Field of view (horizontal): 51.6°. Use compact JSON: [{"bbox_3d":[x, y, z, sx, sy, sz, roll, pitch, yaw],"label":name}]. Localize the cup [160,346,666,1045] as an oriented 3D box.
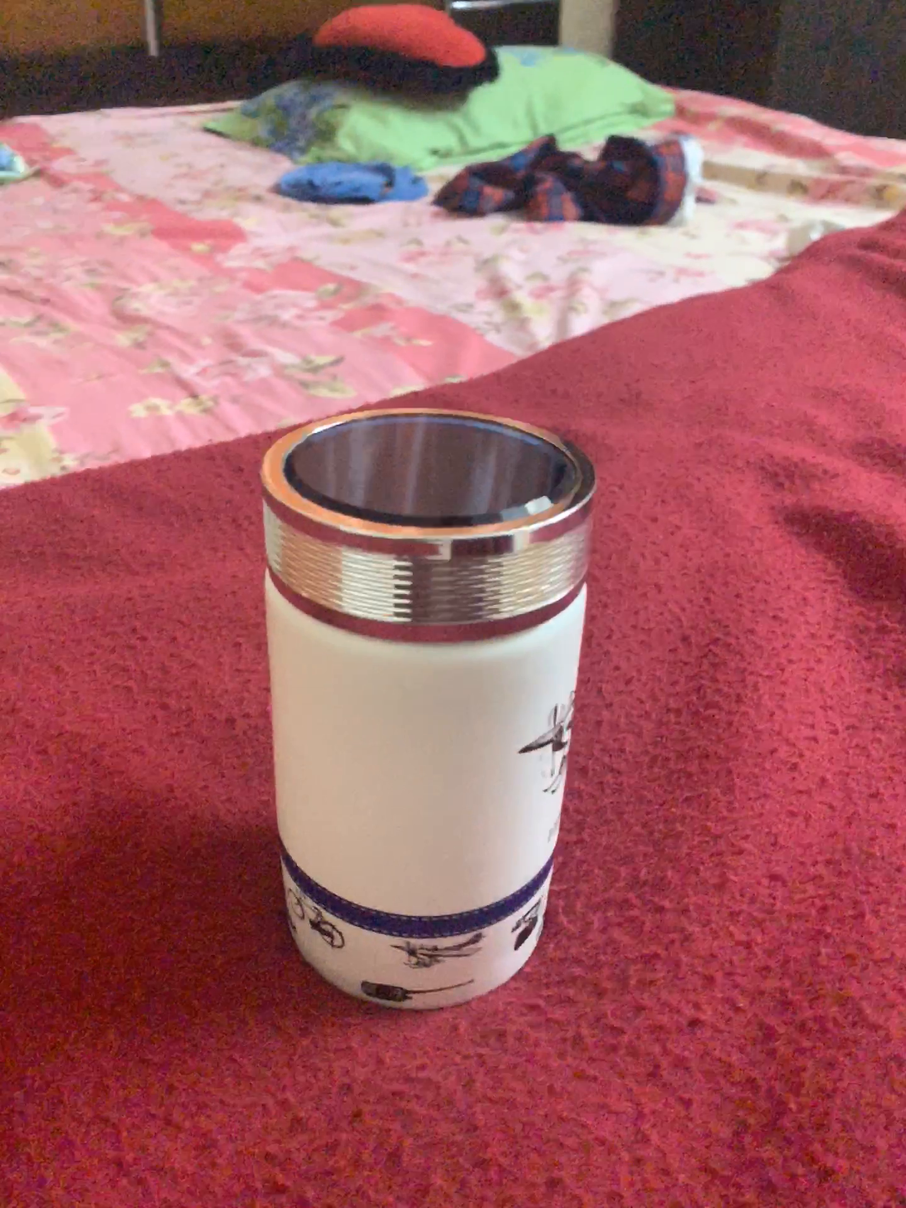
[{"bbox_3d":[-0.010,0.018,0.254,0.090,0.139,0.121,3,30,-1],"label":"cup"}]
